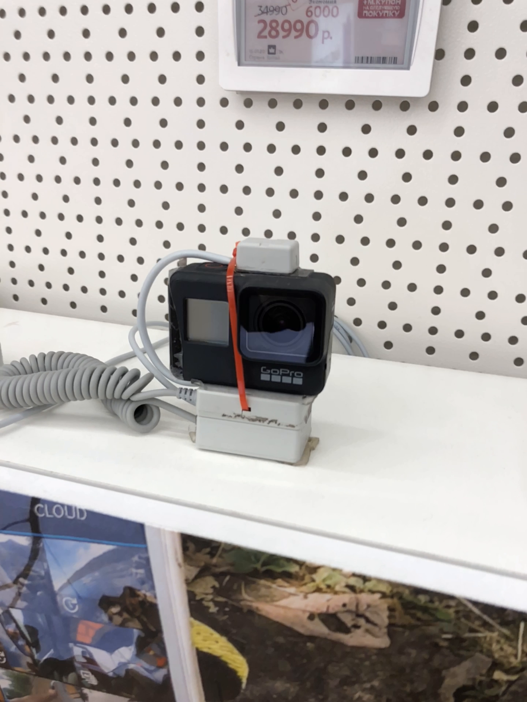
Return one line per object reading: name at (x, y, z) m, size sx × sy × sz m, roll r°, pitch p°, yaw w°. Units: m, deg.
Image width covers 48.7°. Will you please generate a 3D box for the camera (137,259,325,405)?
camera at (-0.011, -0.009, 0.226) m, size 0.064 × 0.043 × 0.032 m, roll 6°, pitch 20°, yaw 11°
